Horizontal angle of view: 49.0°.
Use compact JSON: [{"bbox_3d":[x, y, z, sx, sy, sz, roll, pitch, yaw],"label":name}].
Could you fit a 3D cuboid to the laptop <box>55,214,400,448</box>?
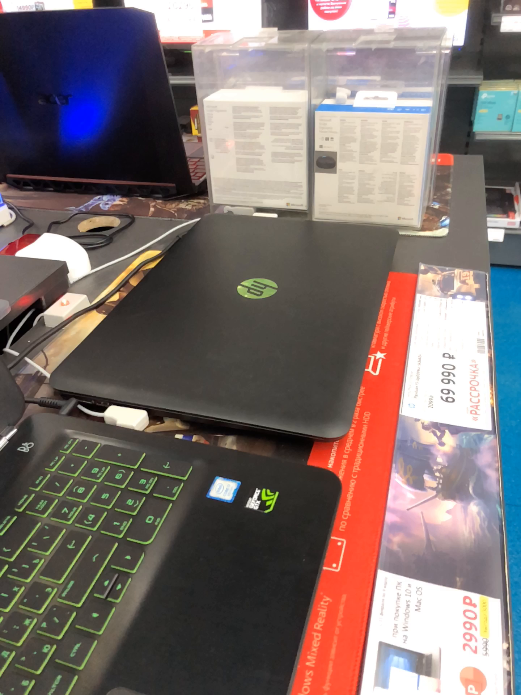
[{"bbox_3d":[0.002,-0.052,0.580,0.239,0.006,0.374,8,37,14],"label":"laptop"}]
